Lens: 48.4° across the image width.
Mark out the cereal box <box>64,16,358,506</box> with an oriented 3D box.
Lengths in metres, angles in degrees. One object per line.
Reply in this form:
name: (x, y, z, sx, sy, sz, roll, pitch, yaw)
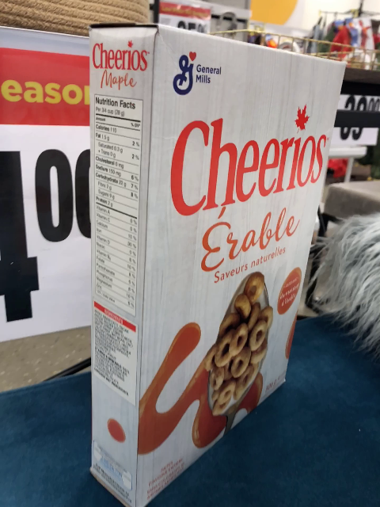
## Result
cereal box: (0.023, 0.003, 0.300, 0.060, 0.269, 0.210, 20, 26, 36)
